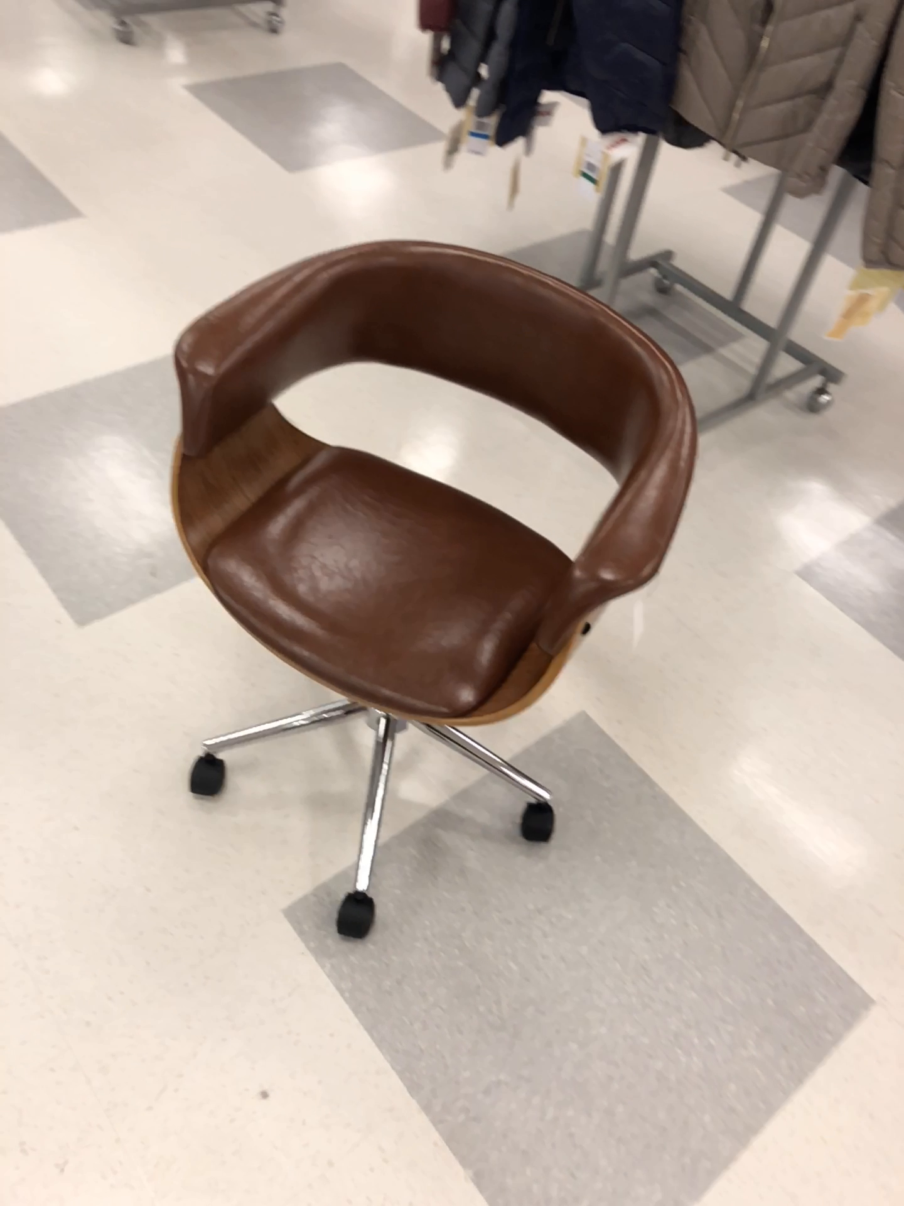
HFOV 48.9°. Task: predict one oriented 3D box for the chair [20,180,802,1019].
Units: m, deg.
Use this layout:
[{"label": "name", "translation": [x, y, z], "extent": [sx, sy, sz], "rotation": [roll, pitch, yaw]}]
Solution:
[{"label": "chair", "translation": [-0.048, -0.014, 1.311], "extent": [0.589, 0.696, 0.629], "rotation": [30, 49, 15]}]
